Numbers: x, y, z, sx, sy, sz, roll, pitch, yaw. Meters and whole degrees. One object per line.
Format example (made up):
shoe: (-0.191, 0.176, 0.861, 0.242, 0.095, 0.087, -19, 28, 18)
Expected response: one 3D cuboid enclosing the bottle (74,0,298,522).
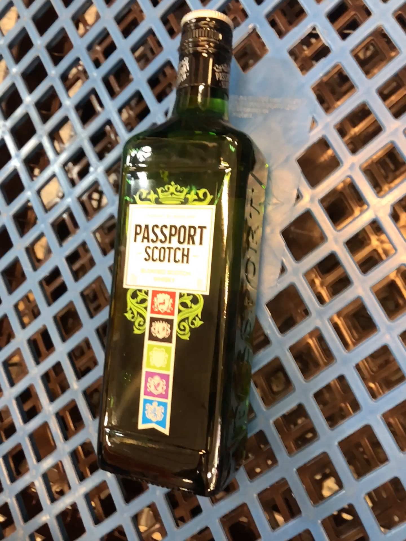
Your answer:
bottle: (-0.004, -0.029, 0.252, 0.080, 0.070, 0.280, 4, 88, 23)
